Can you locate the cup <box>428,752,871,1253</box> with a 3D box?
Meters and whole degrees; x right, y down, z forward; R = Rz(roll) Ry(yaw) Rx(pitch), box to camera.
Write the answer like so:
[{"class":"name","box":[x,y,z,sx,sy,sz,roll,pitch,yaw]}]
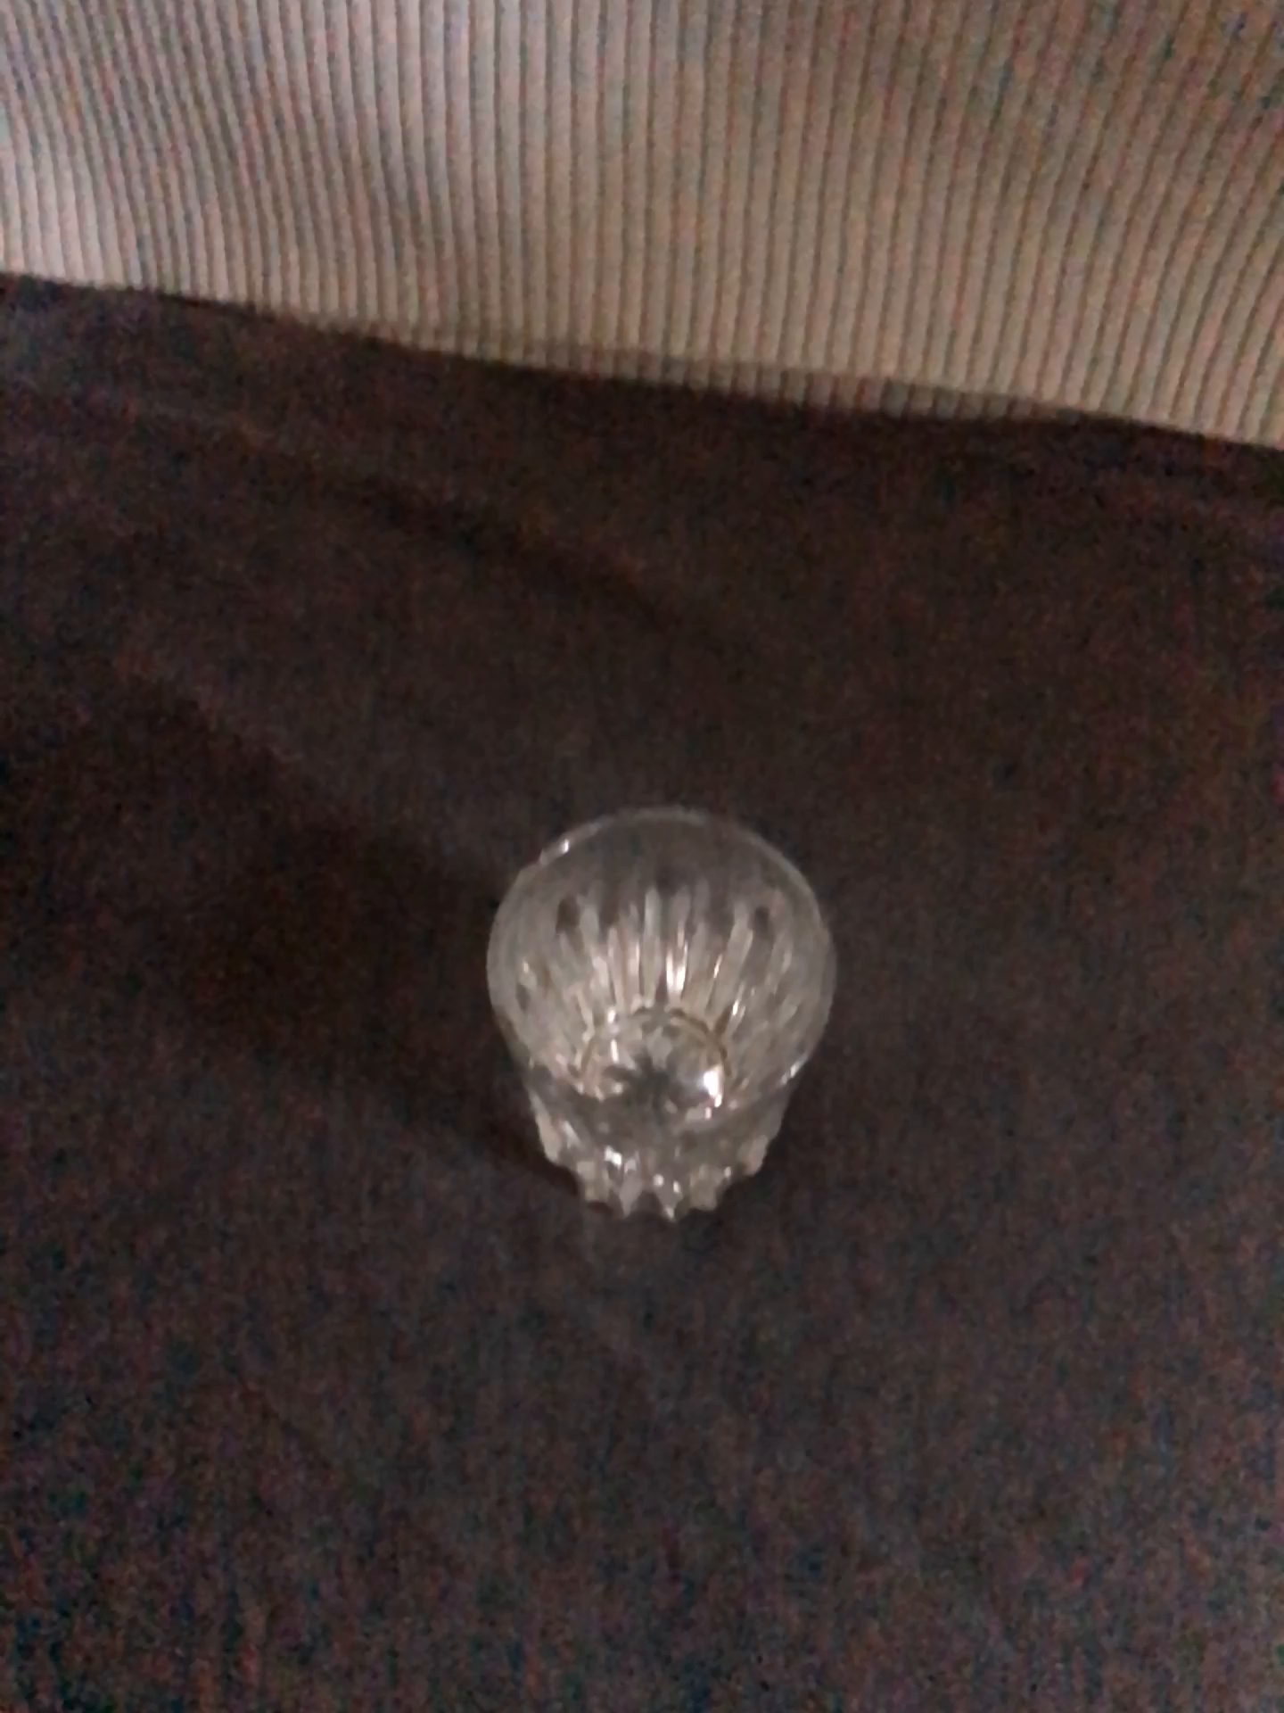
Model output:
[{"class":"cup","box":[0.001,0.030,0.266,0.059,0.078,0.048,18,60,8]}]
